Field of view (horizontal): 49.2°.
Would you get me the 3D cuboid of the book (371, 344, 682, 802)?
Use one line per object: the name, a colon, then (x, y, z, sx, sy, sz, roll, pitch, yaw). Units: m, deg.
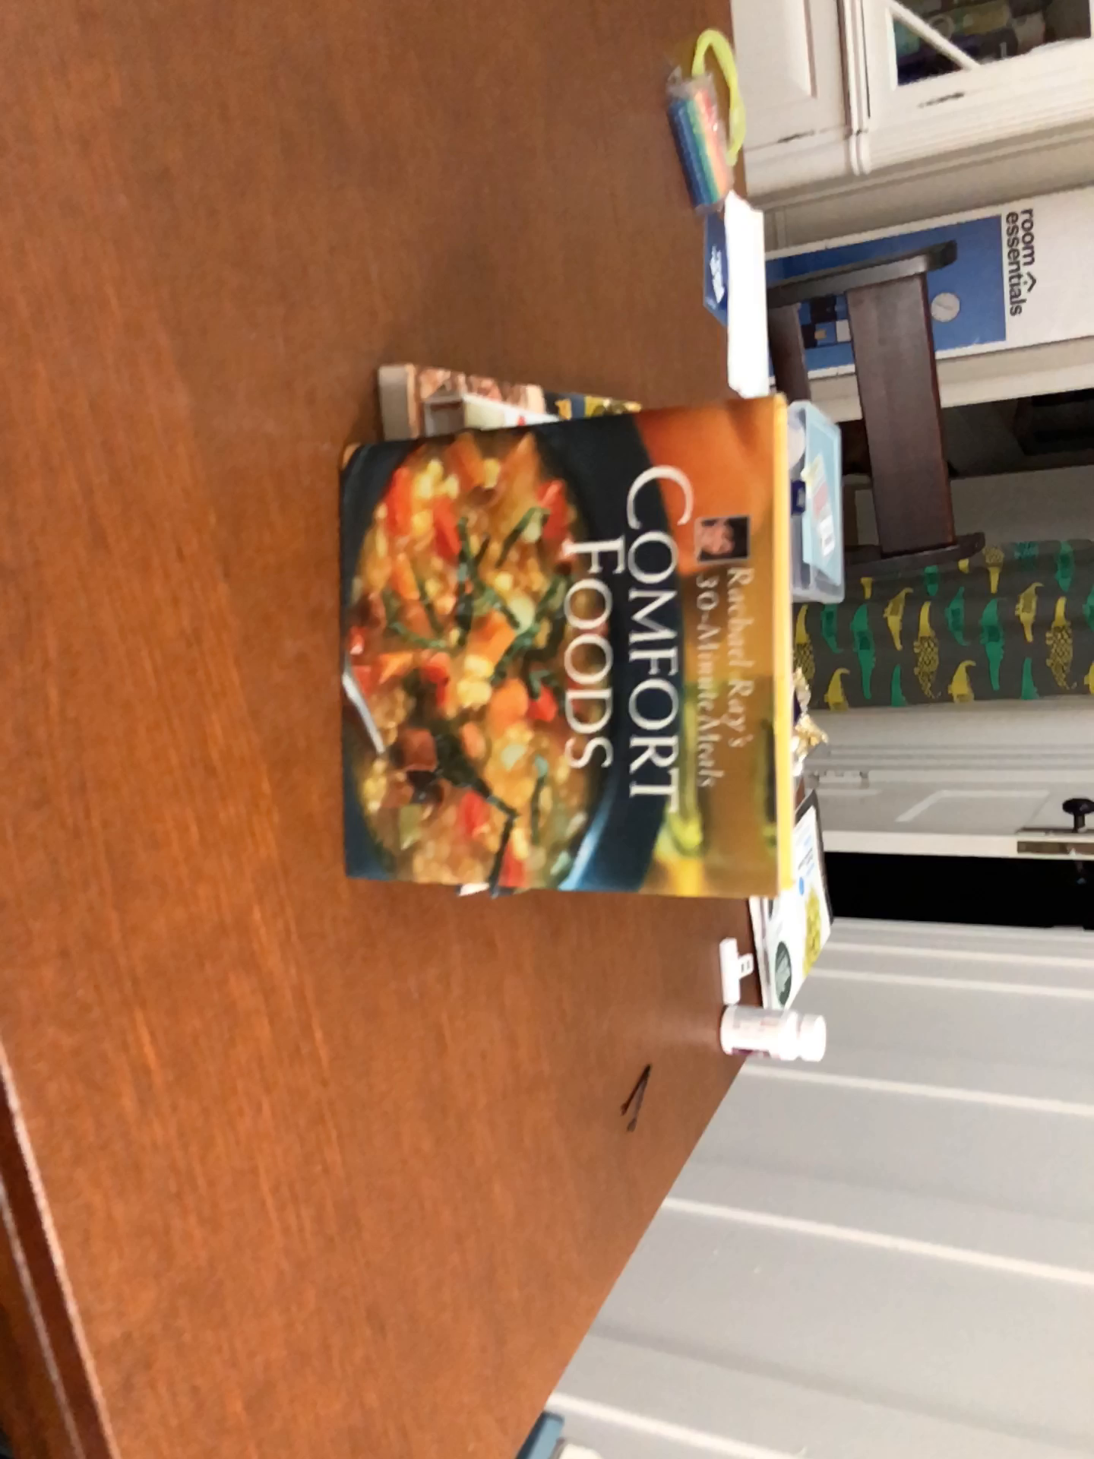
book: (0.005, -0.094, 0.706, 0.282, 0.030, 0.220, -17, 104, -60)

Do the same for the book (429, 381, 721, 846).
book: (0.032, -0.068, 0.697, 0.282, 0.030, 0.220, -13, 100, -61)

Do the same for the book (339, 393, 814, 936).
book: (0.007, -0.026, 0.519, 0.030, 0.209, 0.210, 3, 88, -65)

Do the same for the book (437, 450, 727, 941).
book: (0.034, -0.018, 0.666, 0.282, 0.030, 0.220, -2, 91, -61)
